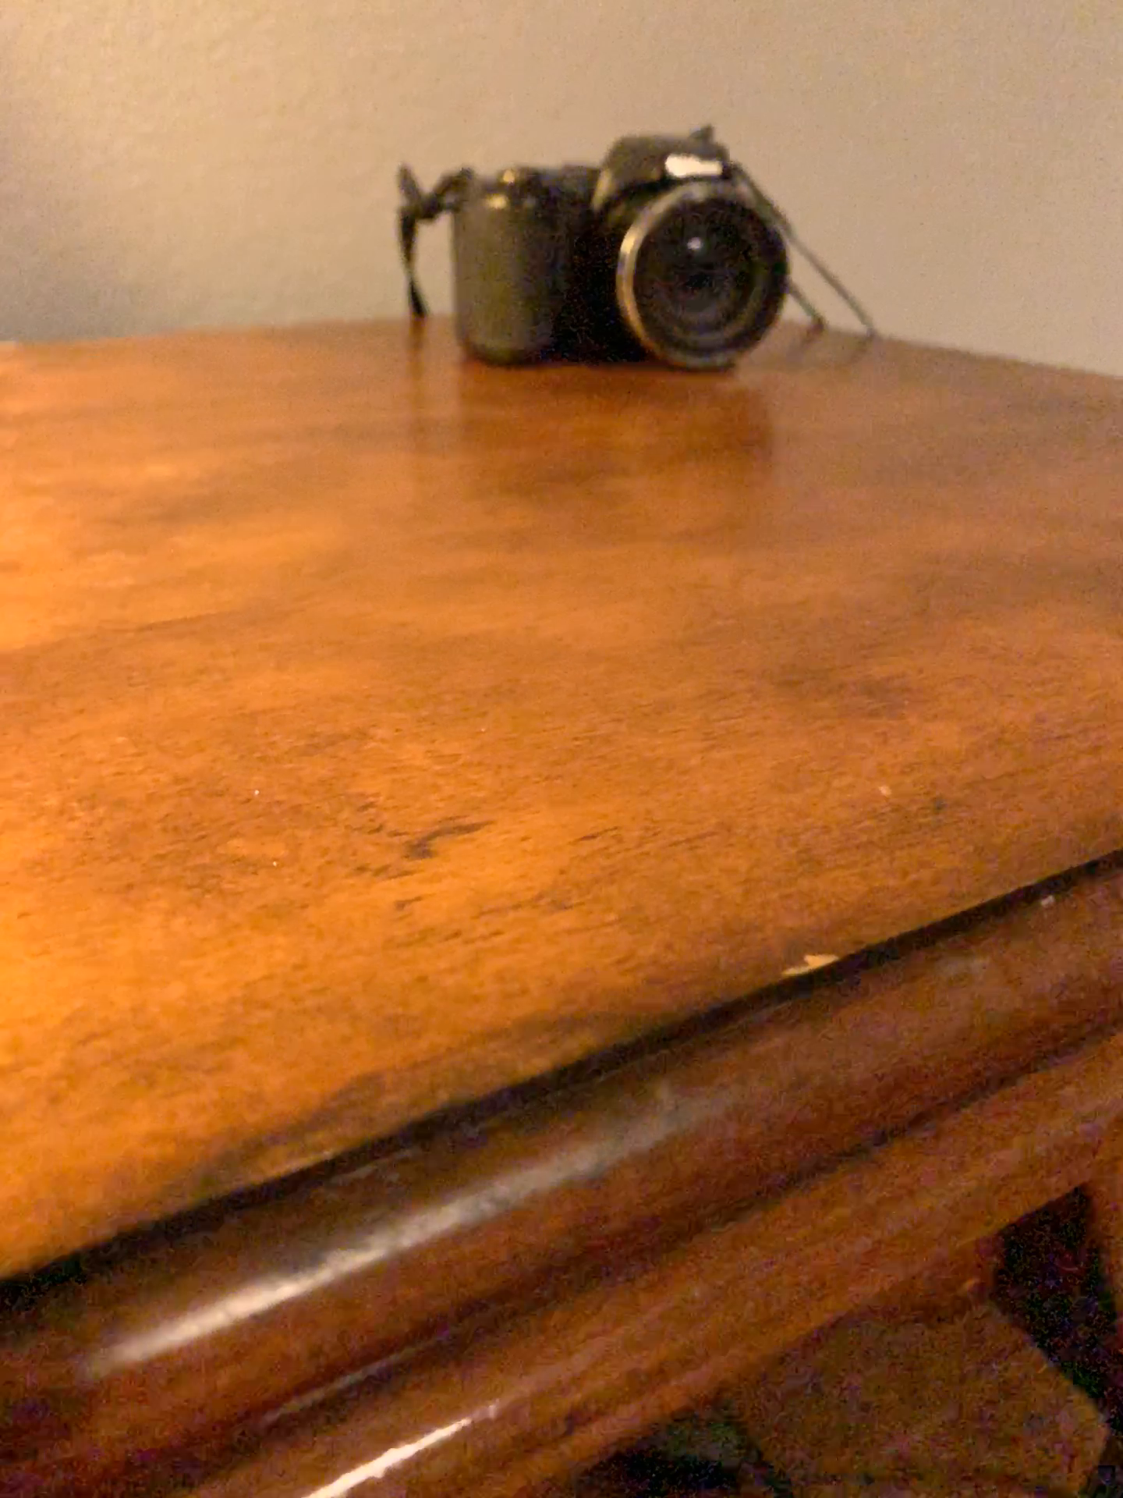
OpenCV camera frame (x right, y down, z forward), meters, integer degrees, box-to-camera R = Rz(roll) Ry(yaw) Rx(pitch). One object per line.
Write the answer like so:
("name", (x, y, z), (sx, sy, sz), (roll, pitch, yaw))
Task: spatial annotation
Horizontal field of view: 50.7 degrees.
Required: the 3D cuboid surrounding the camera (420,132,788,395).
("camera", (0.010, -0.193, 0.464), (0.110, 0.081, 0.123), (-7, 26, -12))
